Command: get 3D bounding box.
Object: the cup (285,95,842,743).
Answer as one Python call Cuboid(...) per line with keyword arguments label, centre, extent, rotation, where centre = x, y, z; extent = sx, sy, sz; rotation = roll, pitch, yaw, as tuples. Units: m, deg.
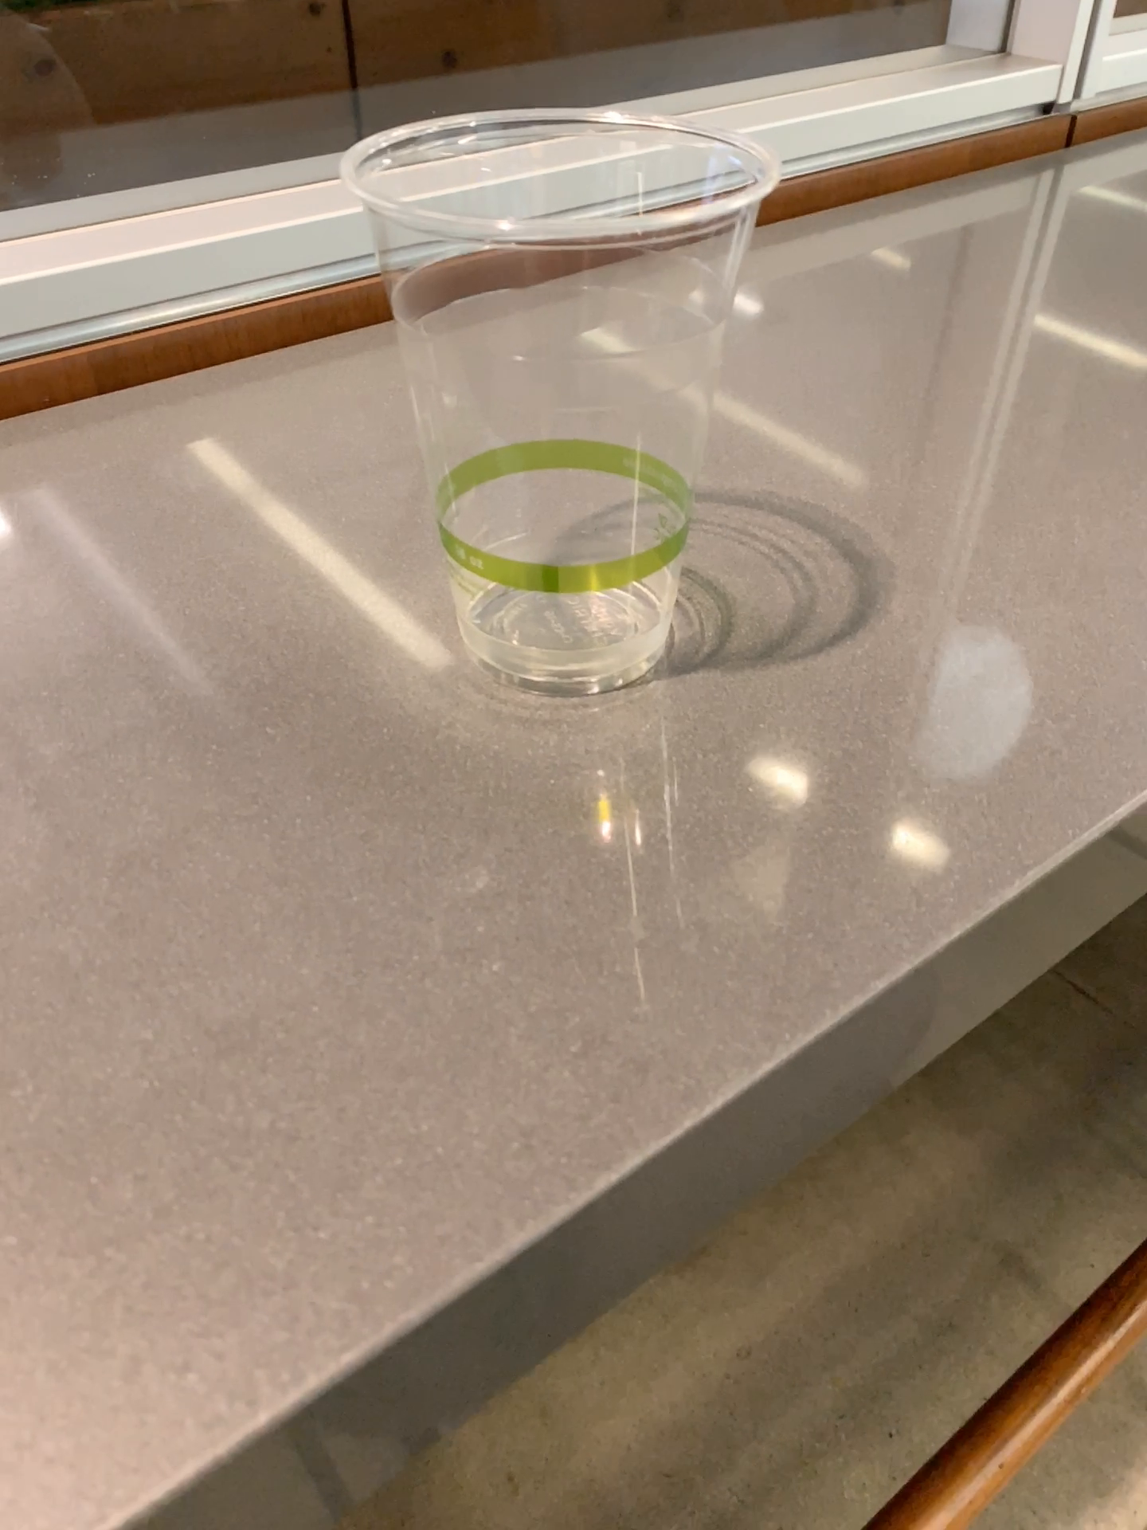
Cuboid(label="cup", centre=(0.005, -0.095, 0.310), extent=(0.100, 0.119, 0.111), rotation=(11, 41, 13))
